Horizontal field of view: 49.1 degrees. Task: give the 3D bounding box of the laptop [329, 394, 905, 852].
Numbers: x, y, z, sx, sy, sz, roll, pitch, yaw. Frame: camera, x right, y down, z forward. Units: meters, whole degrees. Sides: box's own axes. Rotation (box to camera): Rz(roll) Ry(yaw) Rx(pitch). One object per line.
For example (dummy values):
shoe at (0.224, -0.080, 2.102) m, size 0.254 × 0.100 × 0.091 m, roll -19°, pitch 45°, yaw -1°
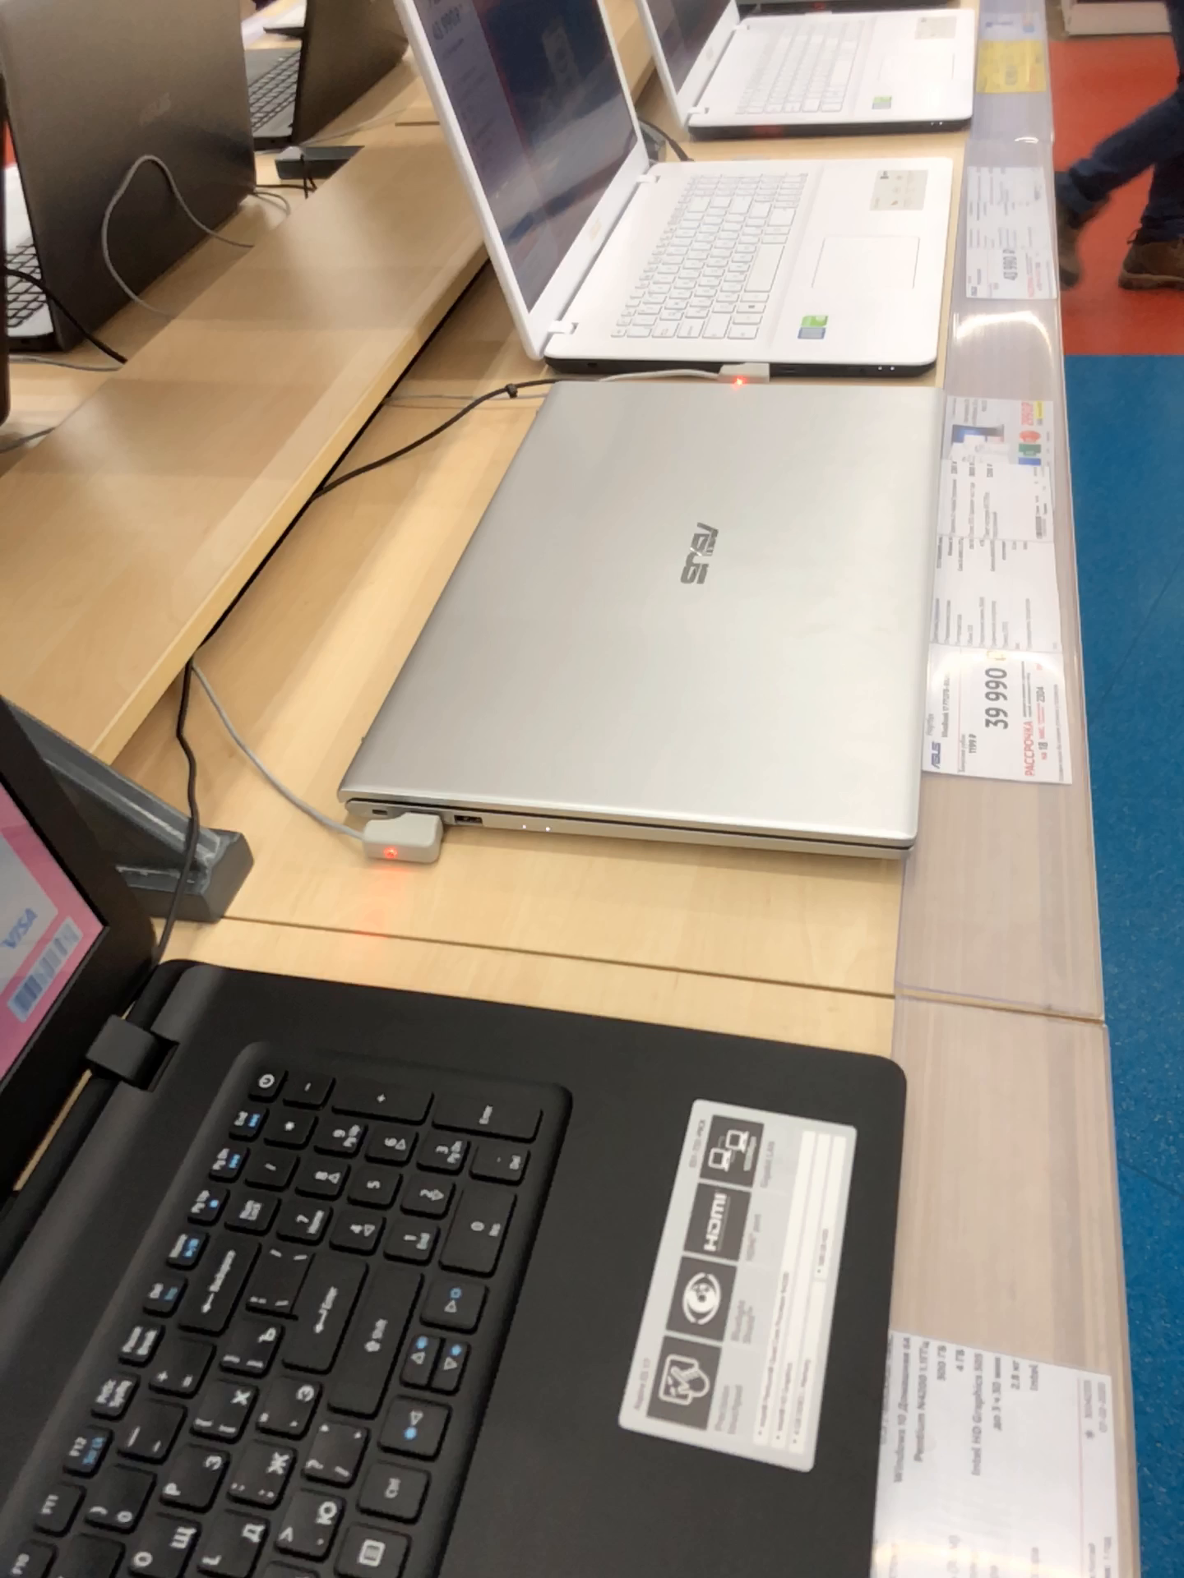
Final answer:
laptop at (0.039, -0.118, 0.698) m, size 0.232 × 0.006 × 0.393 m, roll 6°, pitch 43°, yaw 12°
